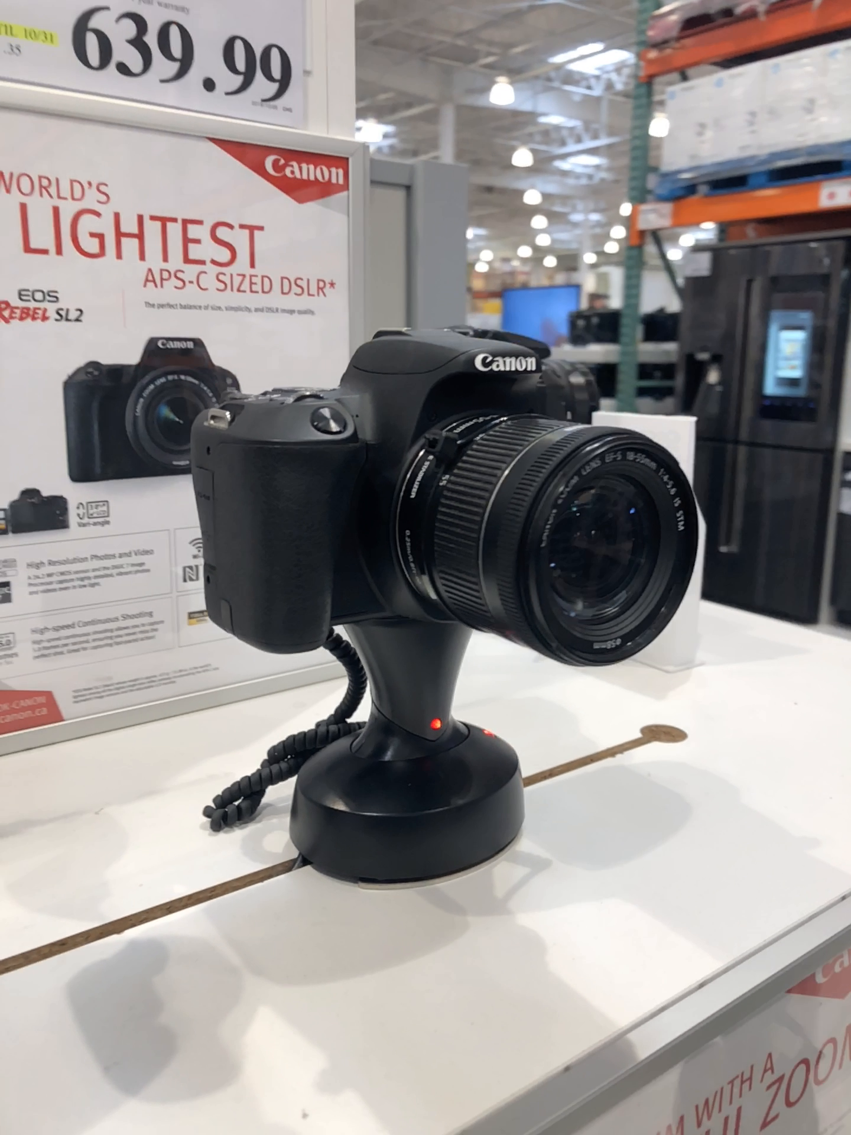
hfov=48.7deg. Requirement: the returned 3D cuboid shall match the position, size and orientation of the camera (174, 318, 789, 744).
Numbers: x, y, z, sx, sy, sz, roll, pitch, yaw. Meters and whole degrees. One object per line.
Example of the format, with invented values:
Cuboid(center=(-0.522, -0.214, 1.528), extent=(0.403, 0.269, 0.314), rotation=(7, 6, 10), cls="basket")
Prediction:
Cuboid(center=(0.011, -0.025, 0.279), extent=(0.130, 0.090, 0.120), rotation=(-7, 15, -33), cls="camera")
